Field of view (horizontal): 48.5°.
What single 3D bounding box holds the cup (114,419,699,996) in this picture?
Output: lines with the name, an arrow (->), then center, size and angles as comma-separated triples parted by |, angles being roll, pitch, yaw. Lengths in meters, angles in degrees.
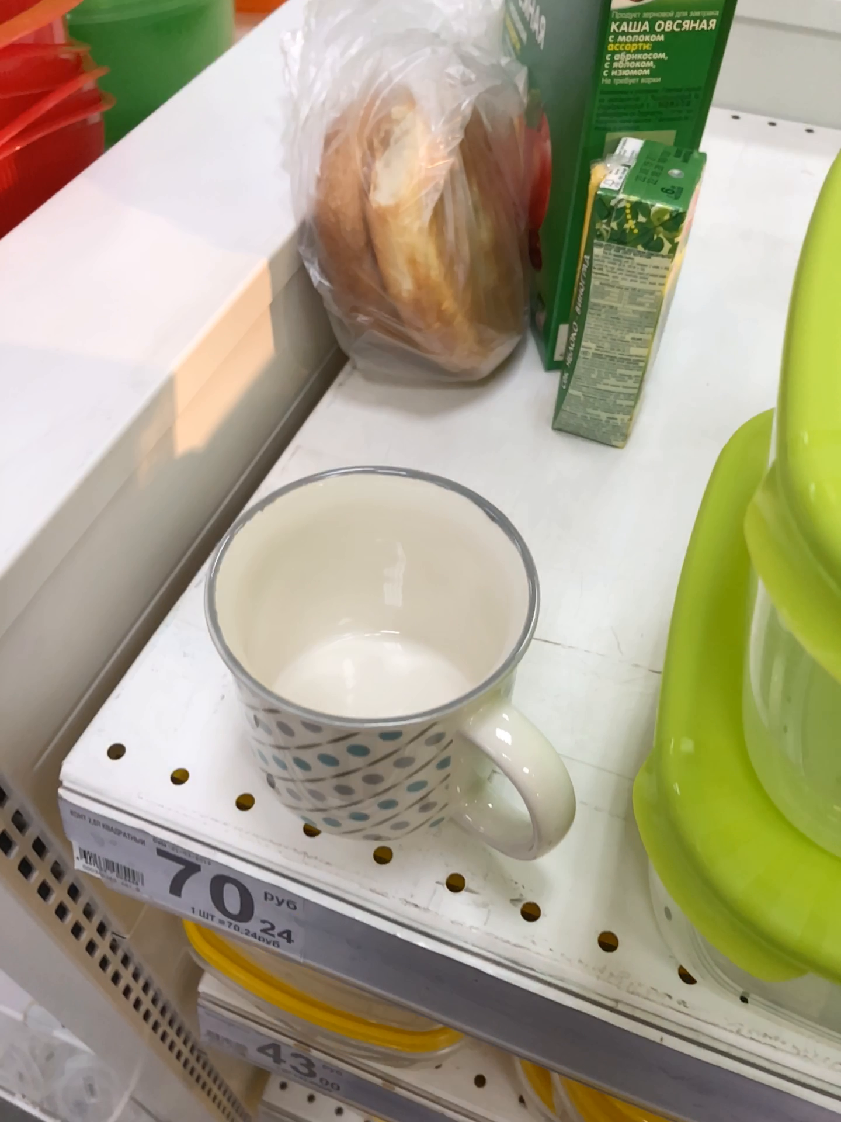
cup -> -0.004, 0.039, 0.285 | 0.128, 0.082, 0.096 | 30, 56, 22
